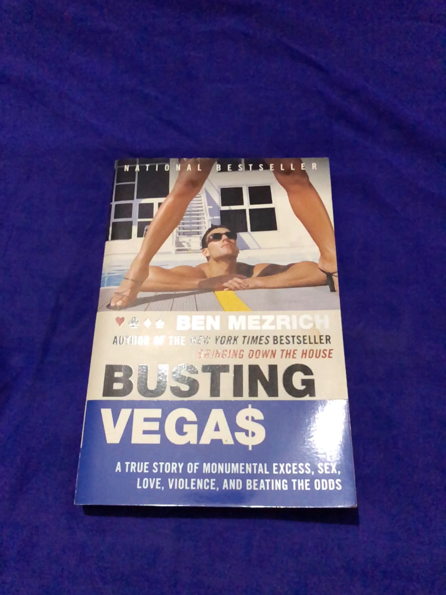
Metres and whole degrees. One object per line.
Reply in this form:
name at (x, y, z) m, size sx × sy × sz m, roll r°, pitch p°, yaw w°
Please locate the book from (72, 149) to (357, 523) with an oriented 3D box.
book at (-0.003, 0.013, 0.287) m, size 0.130 × 0.040 × 0.210 m, roll 0°, pitch 67°, yaw 2°
